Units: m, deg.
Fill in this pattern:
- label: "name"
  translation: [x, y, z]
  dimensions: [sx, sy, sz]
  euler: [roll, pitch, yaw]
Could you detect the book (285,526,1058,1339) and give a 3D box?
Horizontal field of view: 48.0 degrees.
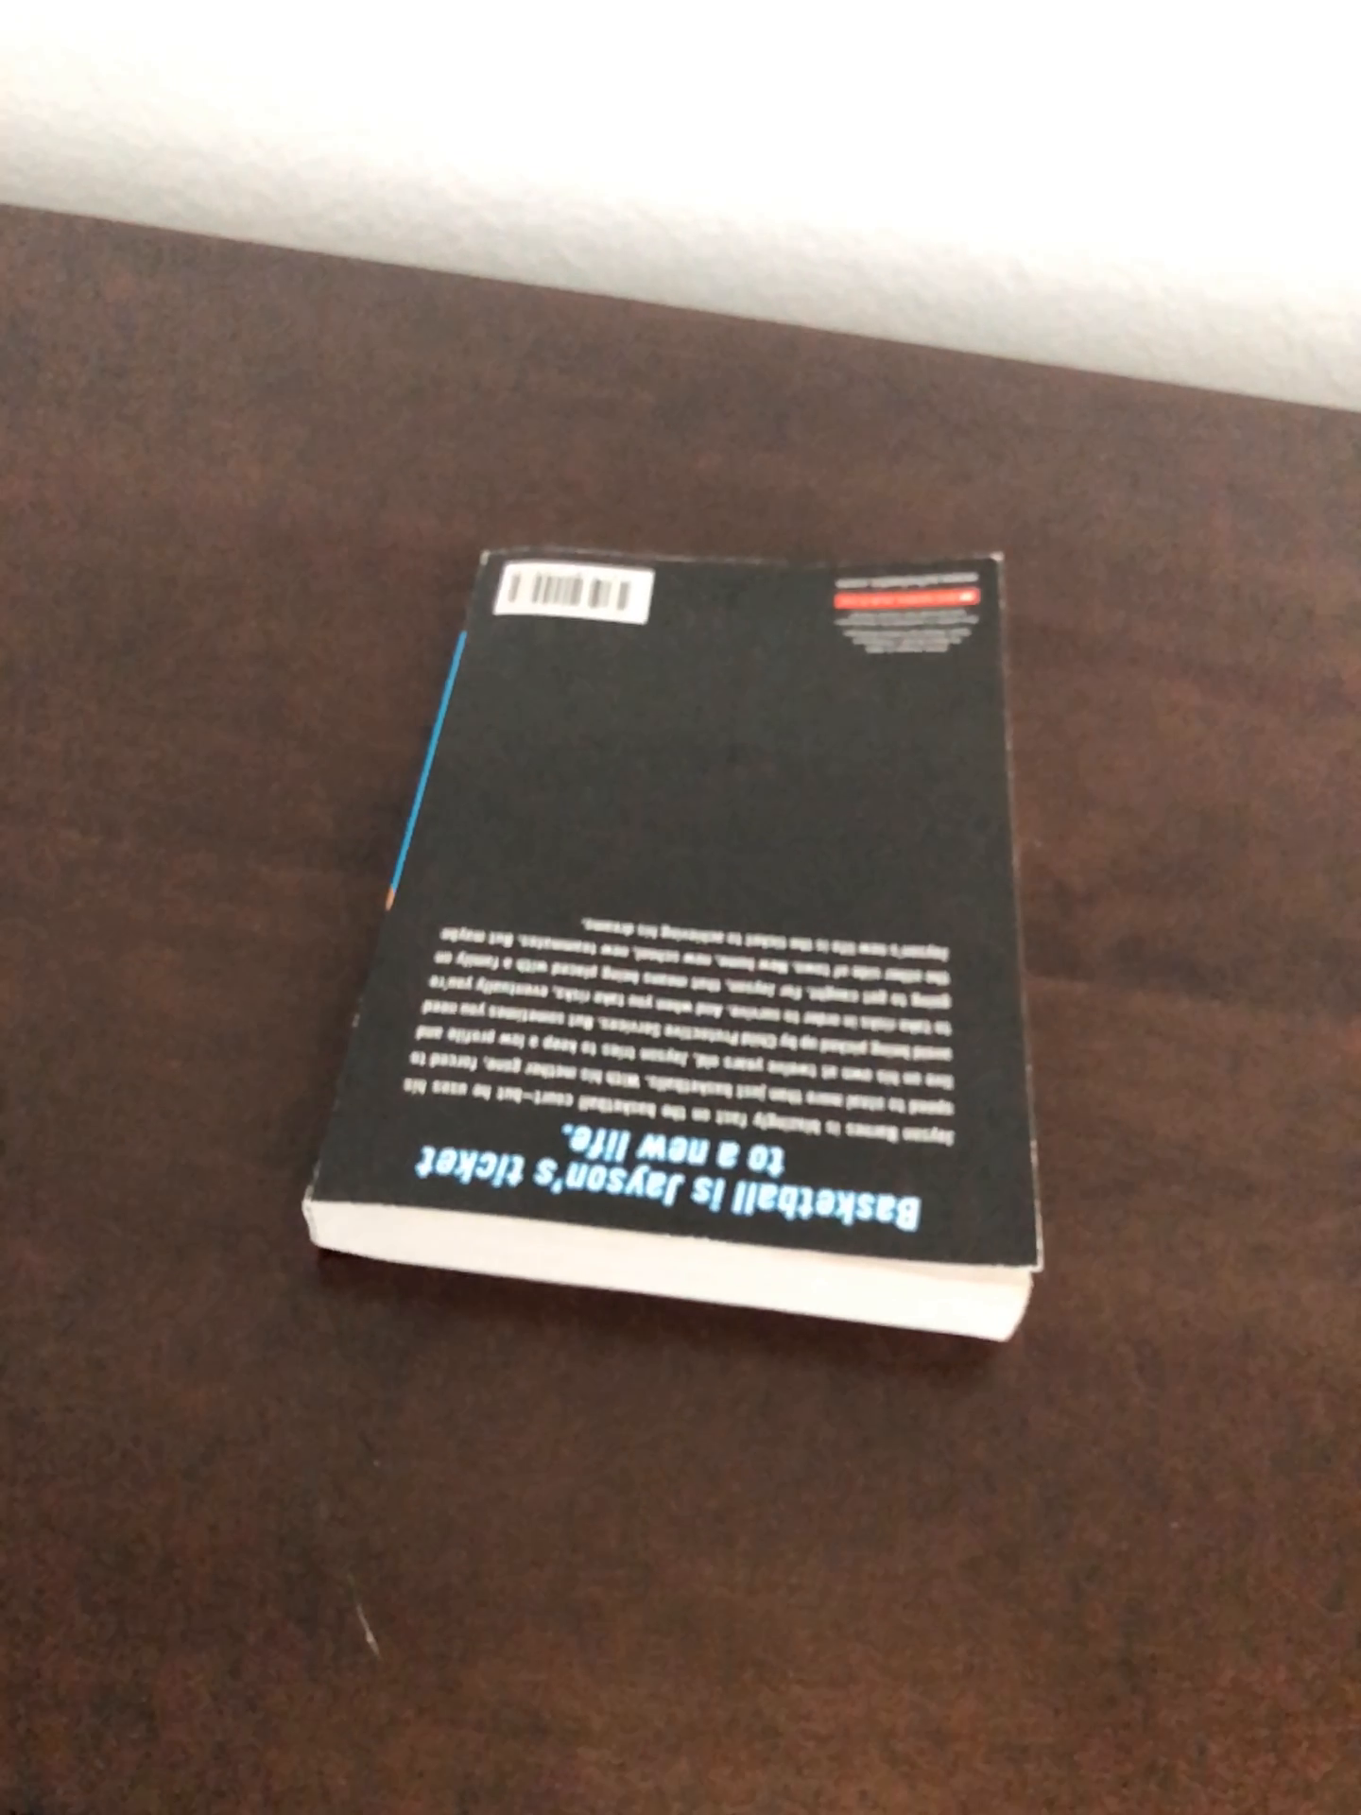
- label: "book"
  translation: [0.007, -0.008, 0.353]
  dimensions: [0.140, 0.036, 0.199]
  euler: [5, 50, 3]
